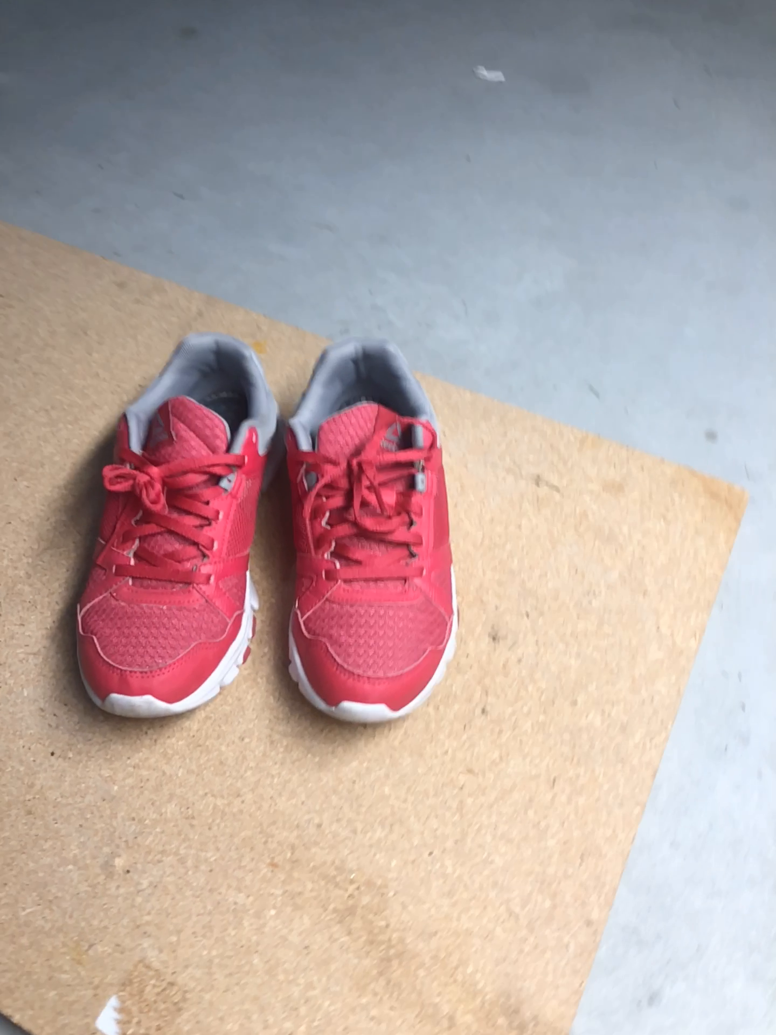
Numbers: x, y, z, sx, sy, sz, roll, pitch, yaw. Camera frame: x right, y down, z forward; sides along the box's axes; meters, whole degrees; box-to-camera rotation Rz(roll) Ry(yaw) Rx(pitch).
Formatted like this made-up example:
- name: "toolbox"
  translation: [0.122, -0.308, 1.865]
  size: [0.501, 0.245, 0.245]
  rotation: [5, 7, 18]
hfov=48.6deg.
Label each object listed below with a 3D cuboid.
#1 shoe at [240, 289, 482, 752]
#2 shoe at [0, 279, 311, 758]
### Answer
- name: "shoe"
  translation: [-0.017, -0.010, 0.513]
  size: [0.110, 0.100, 0.271]
  rotation: [0, 52, -2]
- name: "shoe"
  translation: [-0.122, -0.013, 0.510]
  size: [0.100, 0.100, 0.271]
  rotation: [7, 52, 4]
